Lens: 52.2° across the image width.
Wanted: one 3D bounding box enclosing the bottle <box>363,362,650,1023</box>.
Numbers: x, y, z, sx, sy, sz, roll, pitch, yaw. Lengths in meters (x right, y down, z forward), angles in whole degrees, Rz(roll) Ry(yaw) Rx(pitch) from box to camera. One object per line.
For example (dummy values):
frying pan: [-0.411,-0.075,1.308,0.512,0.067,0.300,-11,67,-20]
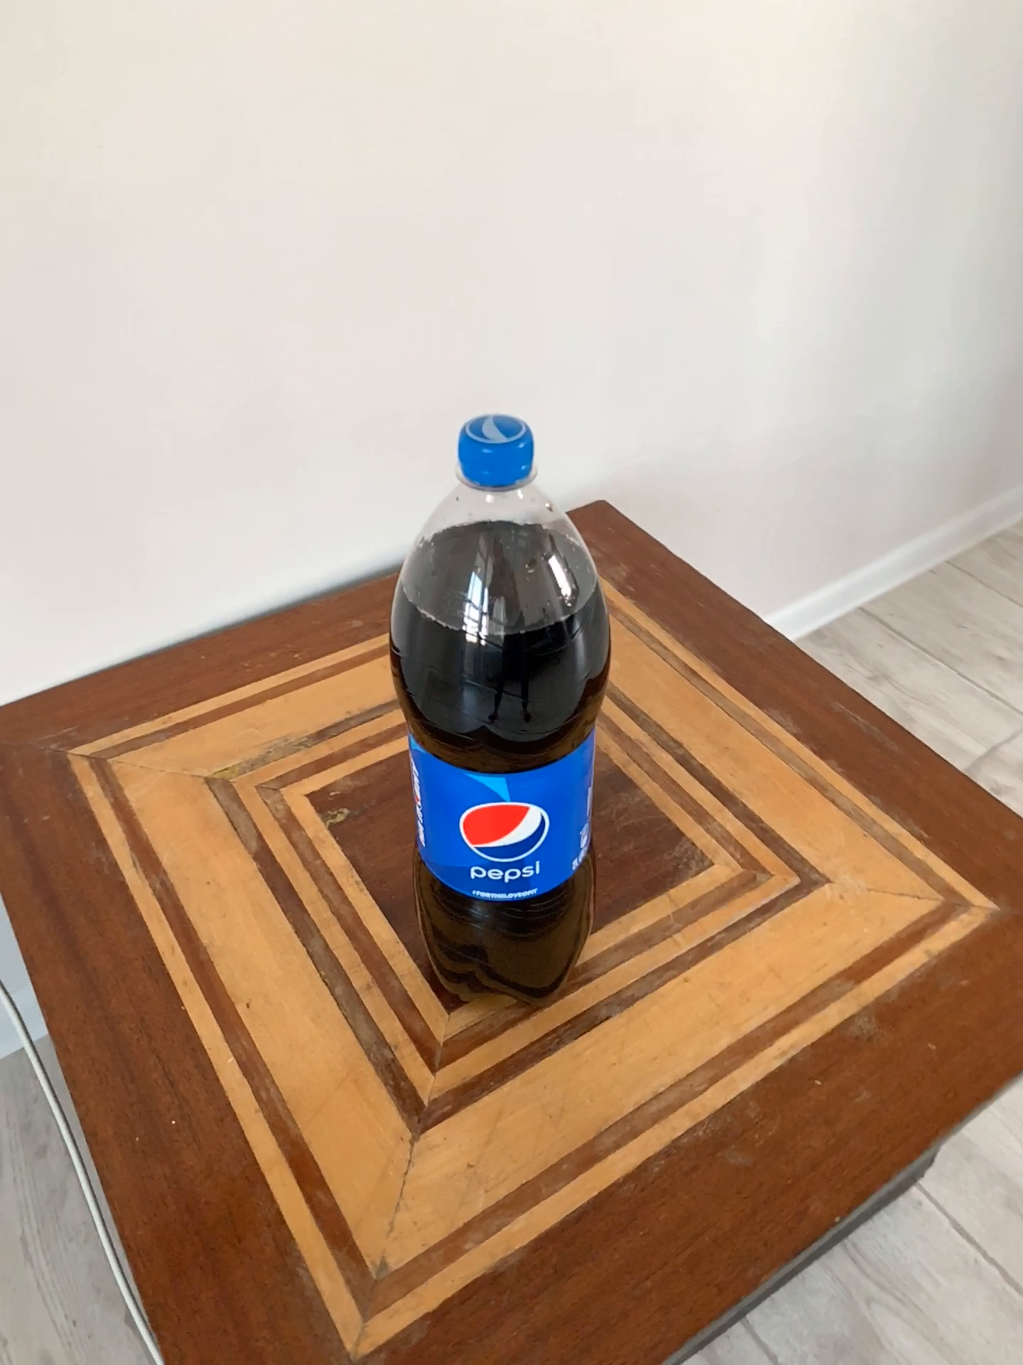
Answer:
bottle: [-0.006,0.027,0.513,0.100,0.338,0.100,0,42,0]
